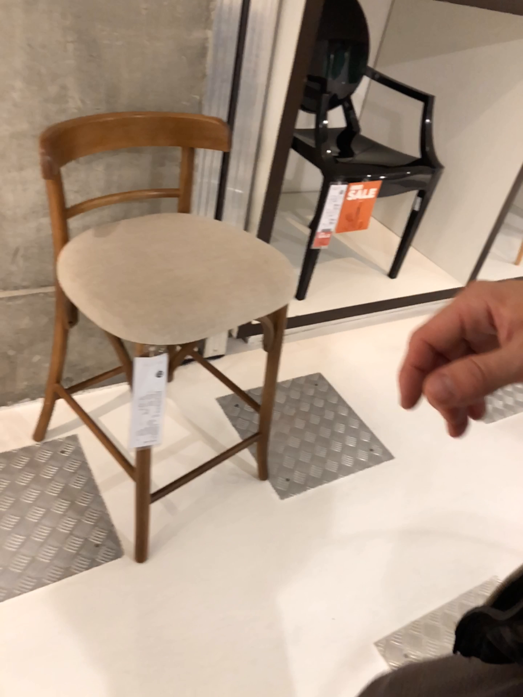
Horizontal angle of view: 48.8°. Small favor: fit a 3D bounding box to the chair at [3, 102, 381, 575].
[{"bbox_3d":[-0.190,-0.036,1.284,0.492,0.813,0.482,-24,50,-39],"label":"chair"}]
